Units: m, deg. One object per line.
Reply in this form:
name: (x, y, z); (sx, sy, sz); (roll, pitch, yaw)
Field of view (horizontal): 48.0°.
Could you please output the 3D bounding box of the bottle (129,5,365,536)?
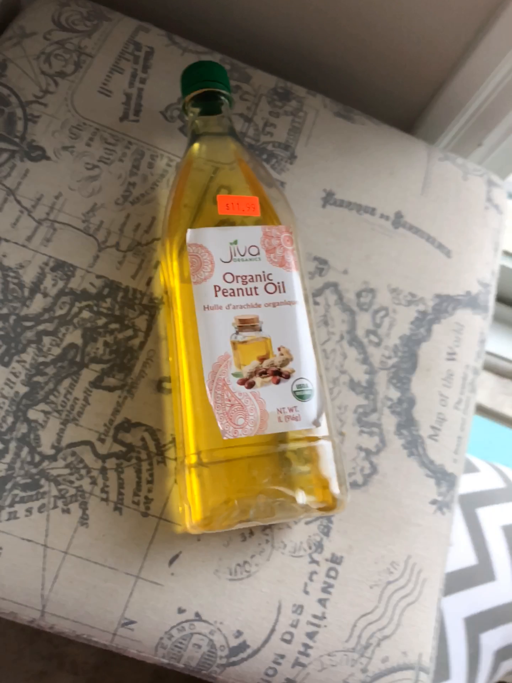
bottle: (-0.016, -0.042, 0.314); (0.080, 0.070, 0.270); (-4, 74, -16)
